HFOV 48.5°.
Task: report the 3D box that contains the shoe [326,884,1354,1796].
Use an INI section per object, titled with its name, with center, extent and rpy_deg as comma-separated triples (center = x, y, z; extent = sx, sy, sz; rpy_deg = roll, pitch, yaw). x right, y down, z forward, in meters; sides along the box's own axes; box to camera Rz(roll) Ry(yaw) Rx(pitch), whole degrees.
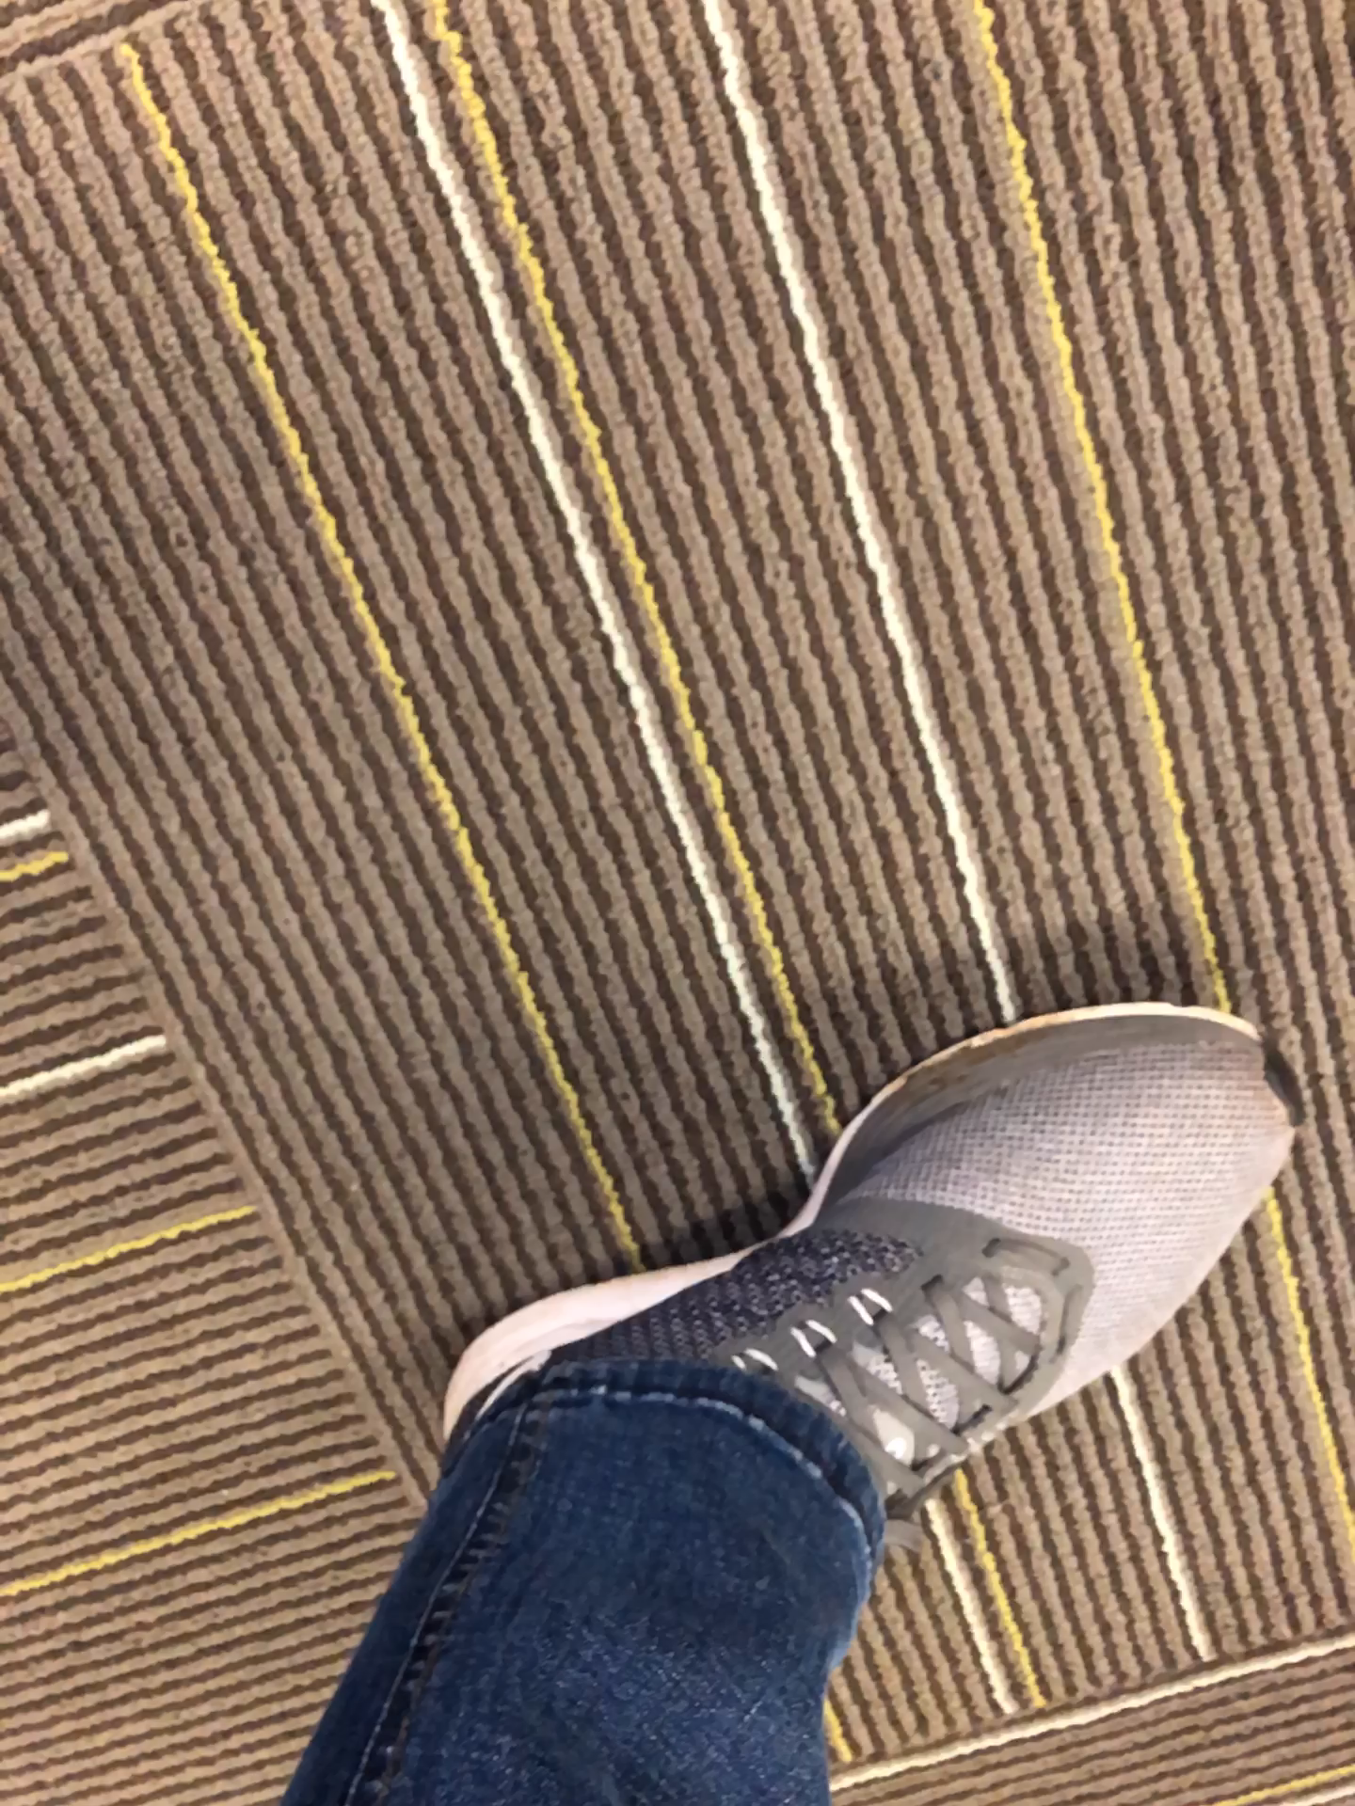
[shoe]
center = 0.060, 0.128, 0.446
extent = 0.300, 0.060, 0.120
rpy_deg = -31, 108, 2
